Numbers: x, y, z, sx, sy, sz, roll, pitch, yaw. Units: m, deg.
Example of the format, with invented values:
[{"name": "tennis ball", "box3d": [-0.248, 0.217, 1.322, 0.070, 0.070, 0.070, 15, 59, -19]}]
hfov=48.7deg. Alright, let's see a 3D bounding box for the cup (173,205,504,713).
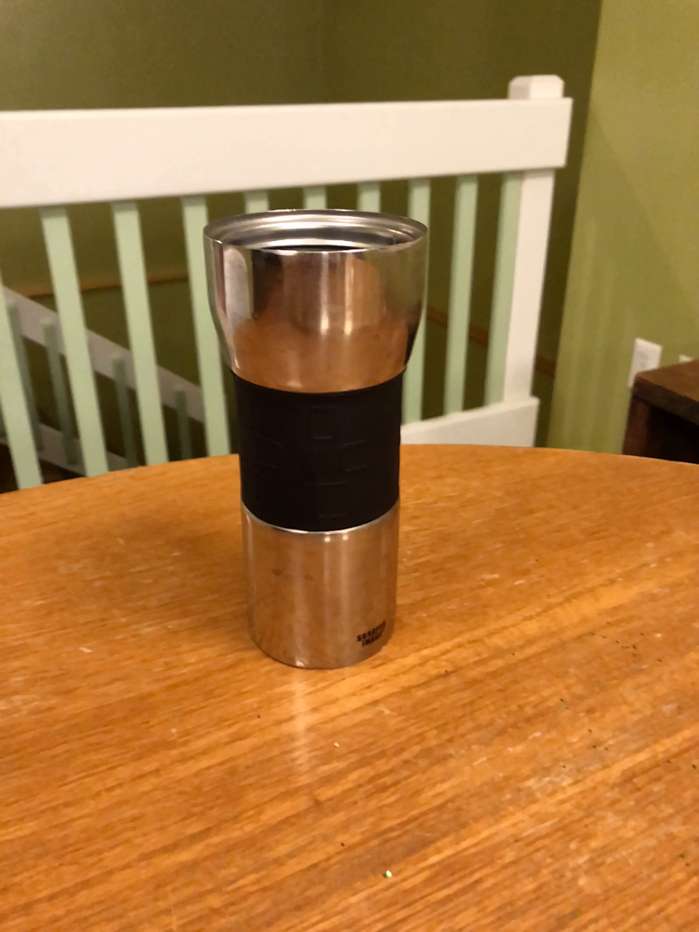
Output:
[{"name": "cup", "box3d": [-0.005, -0.008, 0.319, 0.088, 0.173, 0.084, 0, 26, 0]}]
